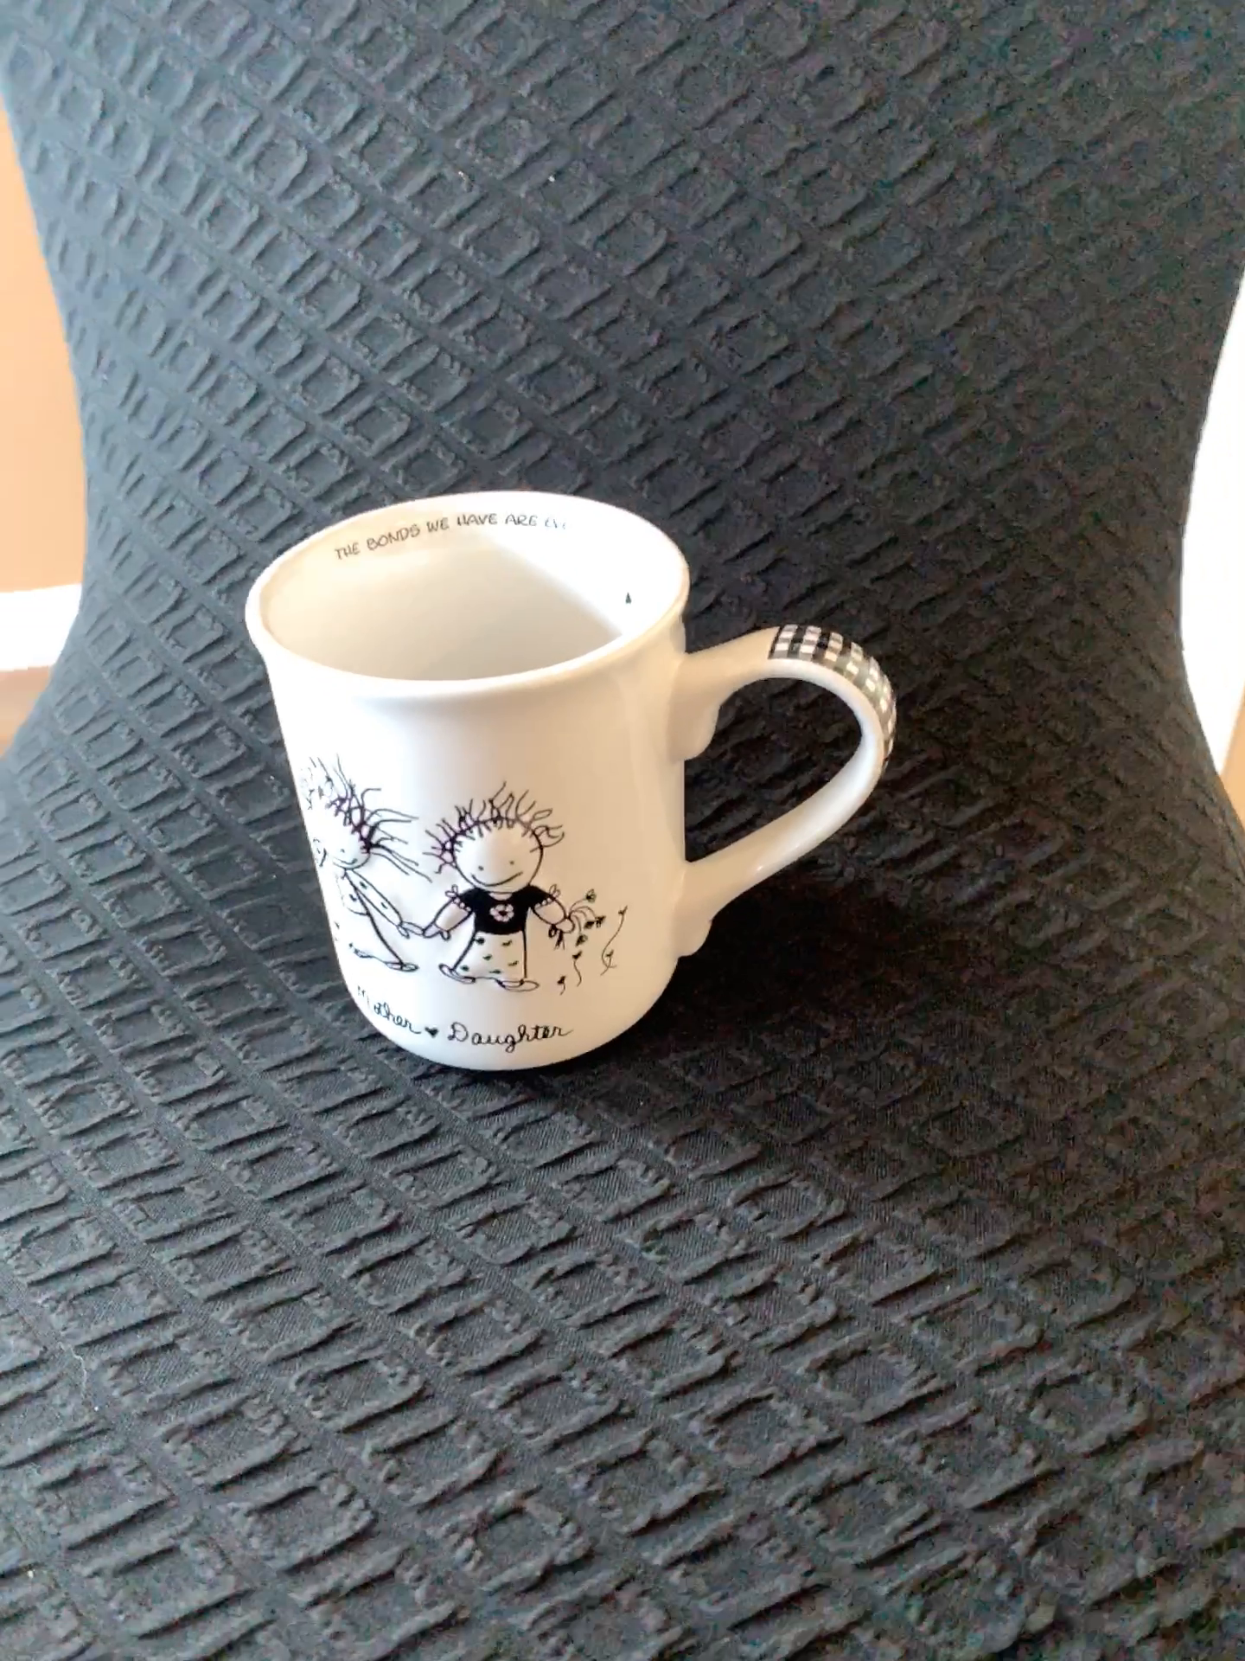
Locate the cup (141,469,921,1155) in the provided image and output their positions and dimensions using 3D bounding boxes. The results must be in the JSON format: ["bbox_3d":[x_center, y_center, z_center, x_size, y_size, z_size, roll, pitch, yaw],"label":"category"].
[{"bbox_3d":[-0.009,-0.010,0.302,0.140,0.109,0.101,6,40,13],"label":"cup"}]
